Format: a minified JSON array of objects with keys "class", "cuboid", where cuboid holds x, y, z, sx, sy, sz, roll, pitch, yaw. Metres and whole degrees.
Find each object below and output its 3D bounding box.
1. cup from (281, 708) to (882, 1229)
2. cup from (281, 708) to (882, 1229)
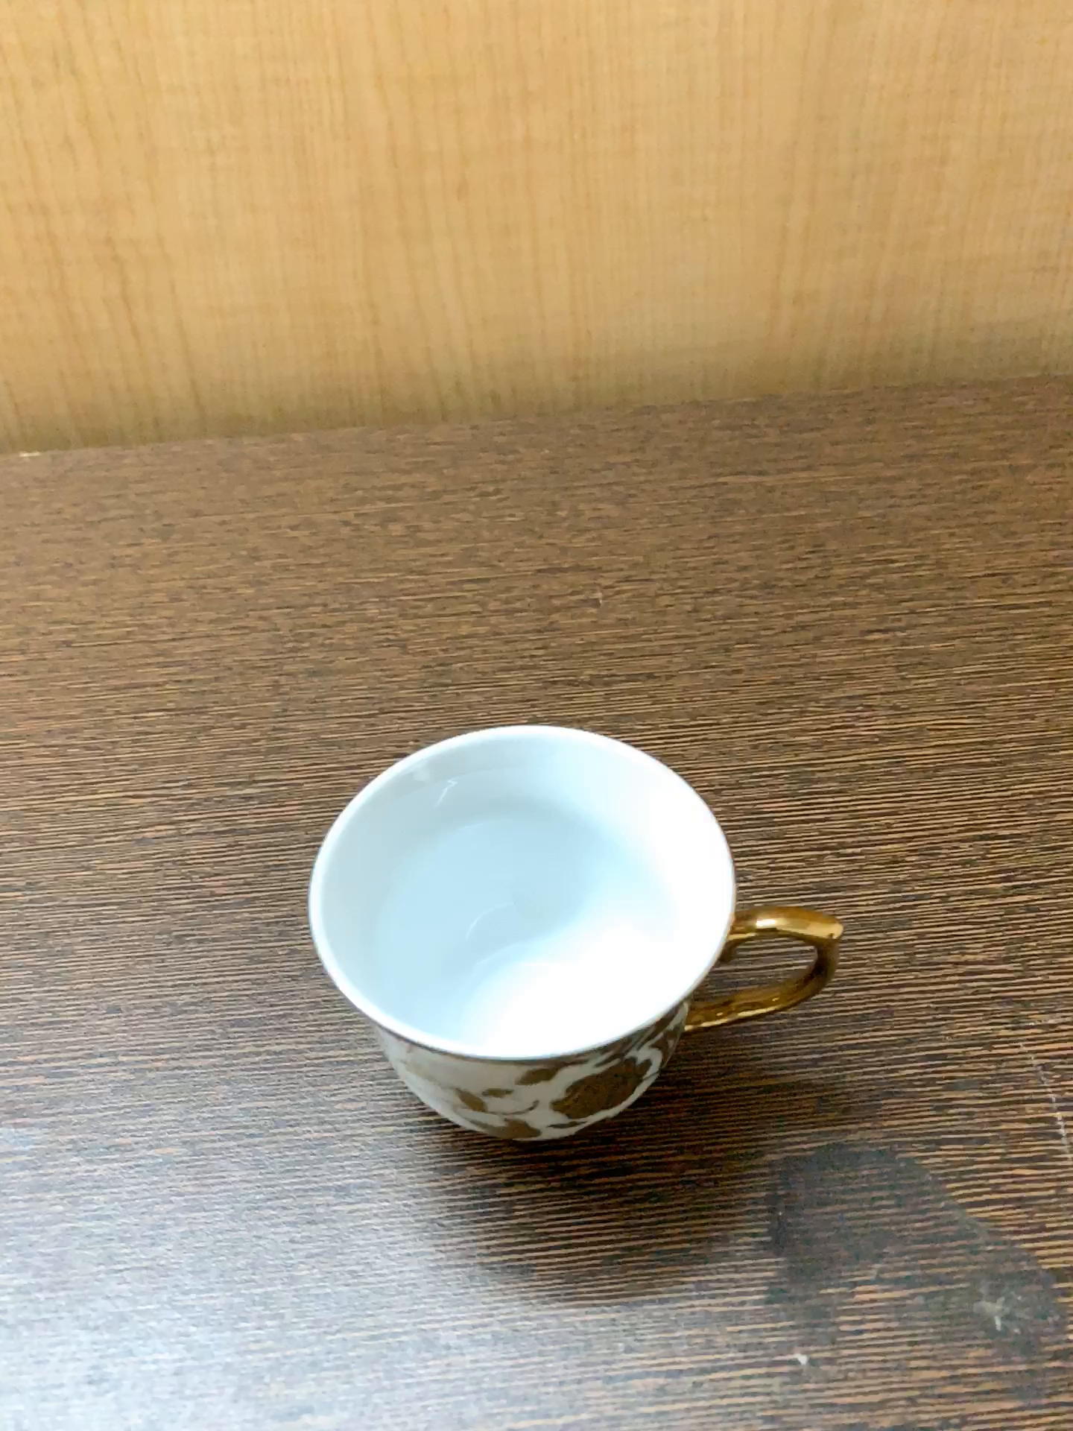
[{"class":"cup","cuboid":[0.007,0.041,0.192,0.080,0.050,0.071,-1,42,2]},{"class":"cup","cuboid":[0.007,0.041,0.192,0.080,0.050,0.071,-1,42,2]}]
